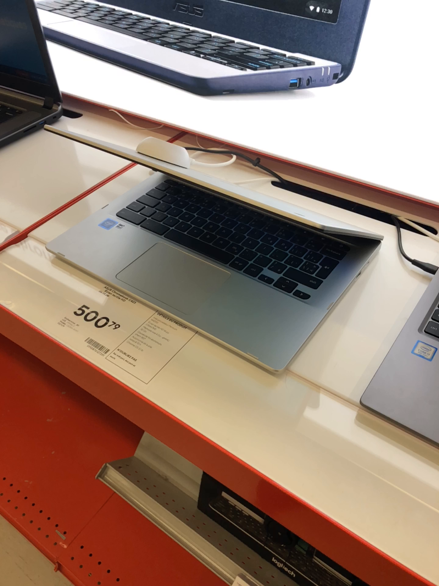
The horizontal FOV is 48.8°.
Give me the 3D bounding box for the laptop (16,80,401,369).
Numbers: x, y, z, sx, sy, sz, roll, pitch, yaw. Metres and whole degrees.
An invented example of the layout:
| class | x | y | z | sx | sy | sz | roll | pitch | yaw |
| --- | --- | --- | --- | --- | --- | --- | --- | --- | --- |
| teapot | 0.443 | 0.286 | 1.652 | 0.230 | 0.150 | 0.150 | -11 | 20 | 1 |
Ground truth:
| class | x | y | z | sx | sy | sz | roll | pitch | yaw |
| --- | --- | --- | --- | --- | --- | --- | --- | --- | --- |
| laptop | -0.013 | -0.099 | 0.516 | 0.312 | 0.118 | 0.213 | 25 | 51 | 26 |
